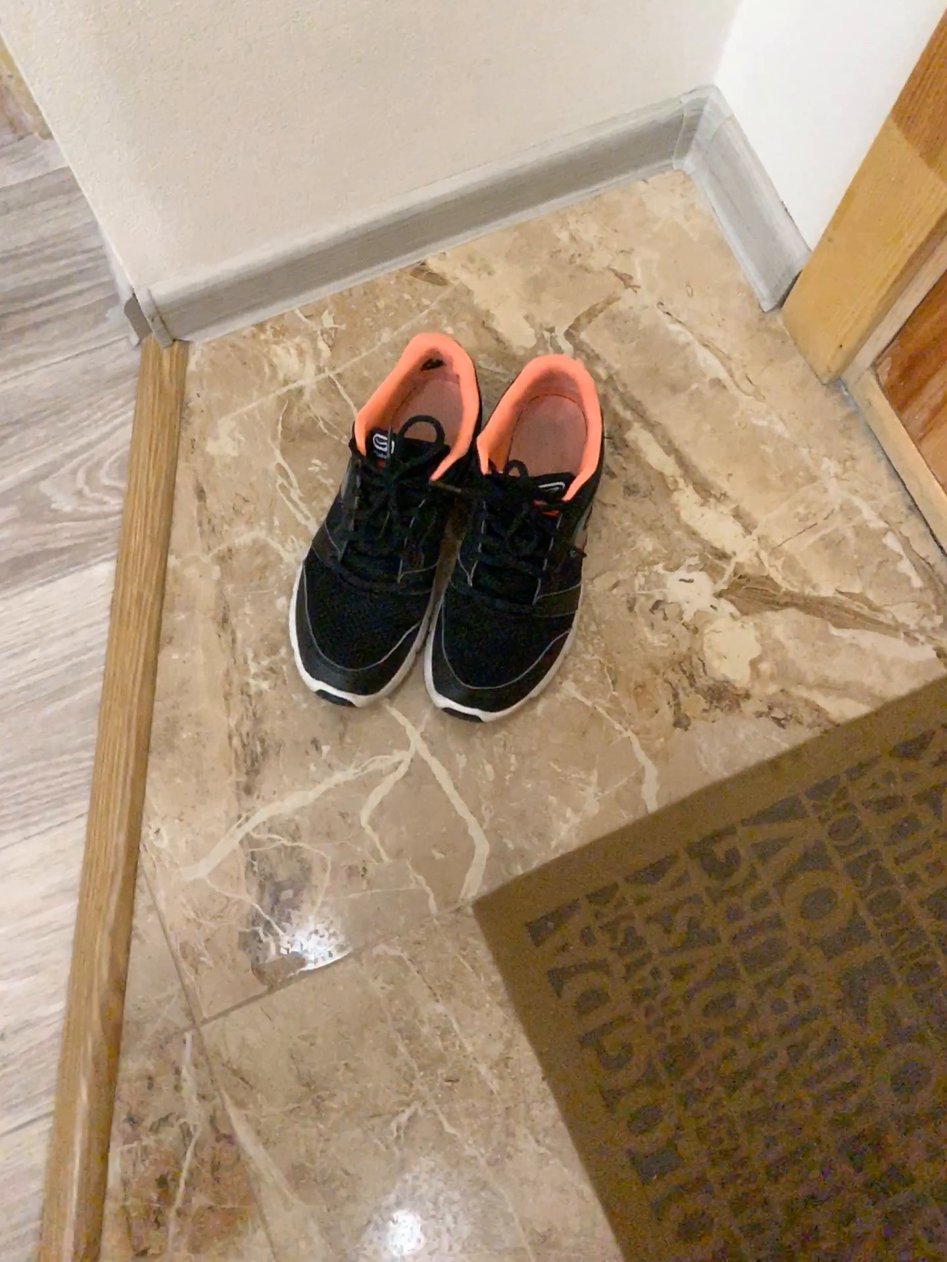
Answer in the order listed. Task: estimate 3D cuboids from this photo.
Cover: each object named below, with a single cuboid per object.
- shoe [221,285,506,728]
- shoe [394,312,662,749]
[{"bbox_3d":[-0.063,-0.078,0.631,0.100,0.100,0.250,16,75,3],"label":"shoe"},{"bbox_3d":[0.035,-0.062,0.626,0.100,0.100,0.244,16,75,3],"label":"shoe"}]
